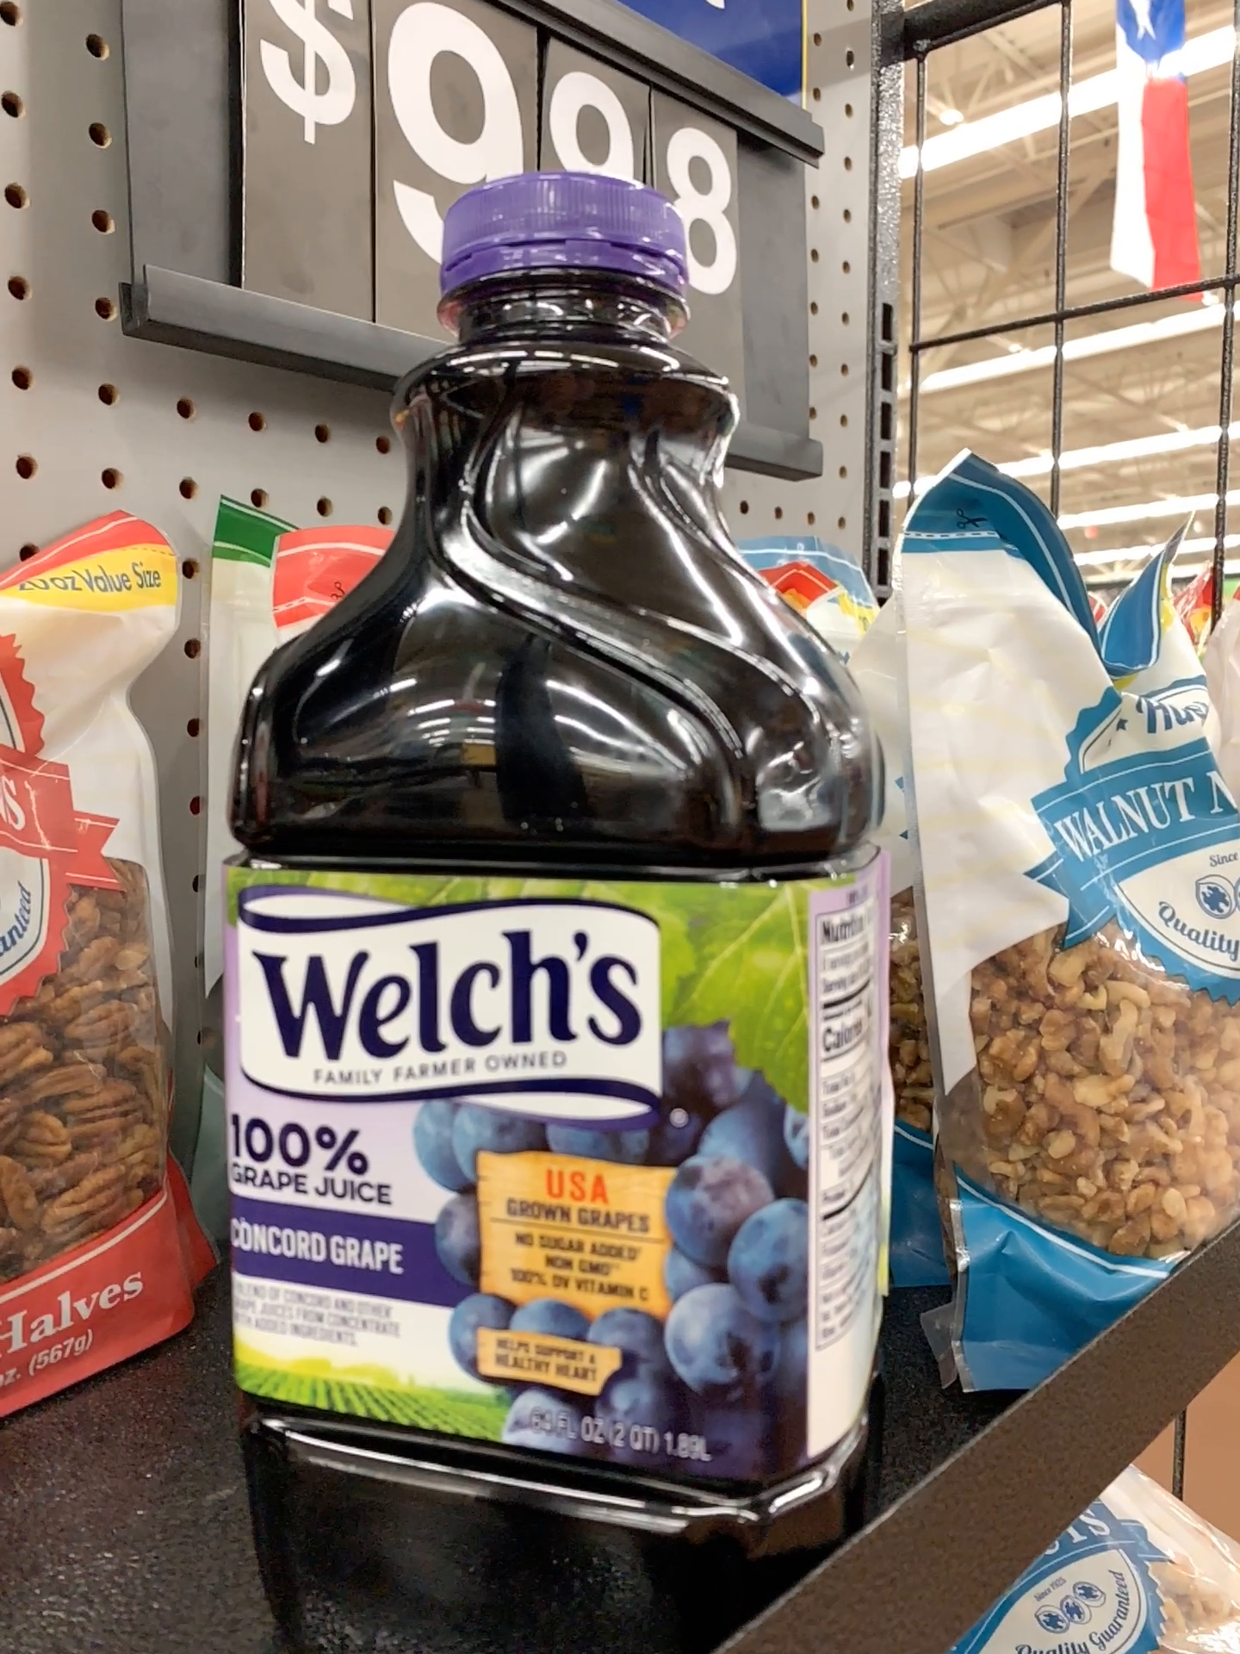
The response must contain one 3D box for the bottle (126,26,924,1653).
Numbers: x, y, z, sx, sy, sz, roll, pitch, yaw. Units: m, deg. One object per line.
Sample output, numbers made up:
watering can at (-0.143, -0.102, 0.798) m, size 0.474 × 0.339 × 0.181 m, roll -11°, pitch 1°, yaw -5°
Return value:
bottle at (-0.008, 0.016, 0.249) m, size 0.120 × 0.260 × 0.100 m, roll 0°, pitch 4°, yaw 20°
